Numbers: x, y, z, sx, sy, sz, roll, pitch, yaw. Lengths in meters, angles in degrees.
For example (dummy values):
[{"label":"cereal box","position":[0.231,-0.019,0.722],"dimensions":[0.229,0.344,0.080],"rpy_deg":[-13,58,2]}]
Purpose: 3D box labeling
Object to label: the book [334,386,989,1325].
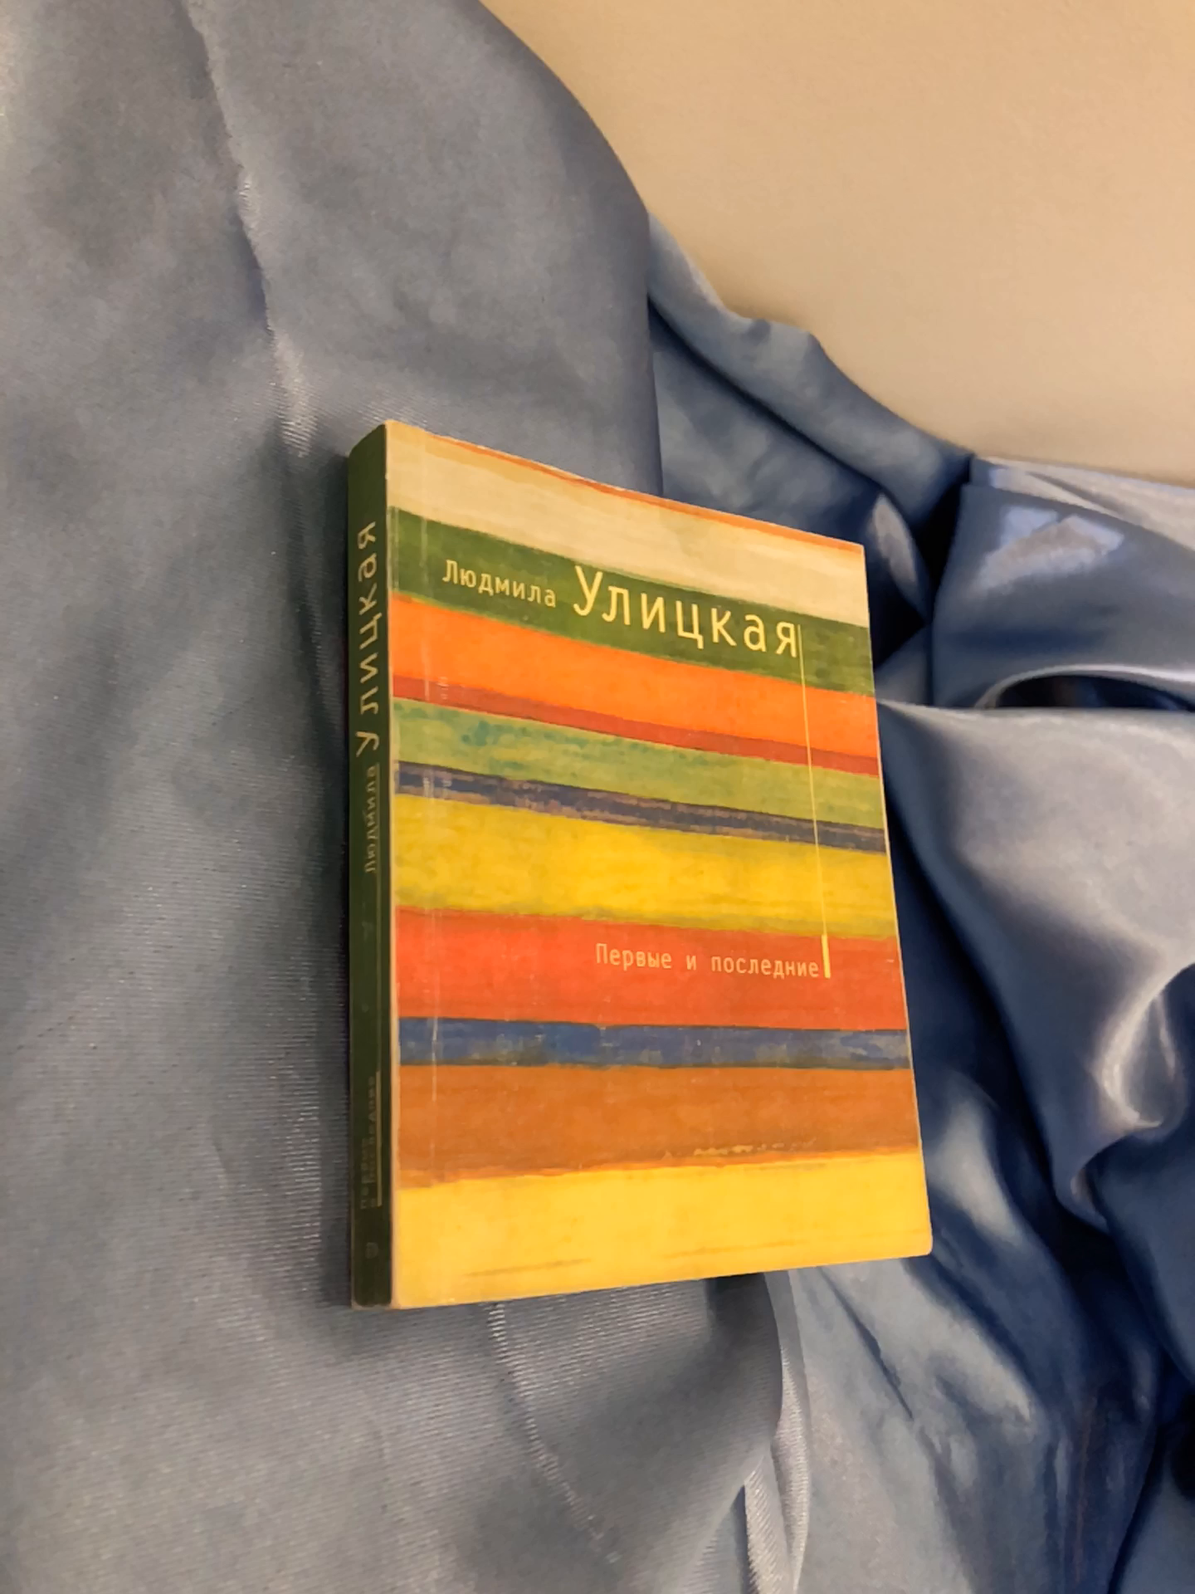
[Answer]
[{"label":"book","position":[0.014,0.012,0.271],"dimensions":[0.130,0.026,0.167],"rpy_deg":[7,71,-30]}]
